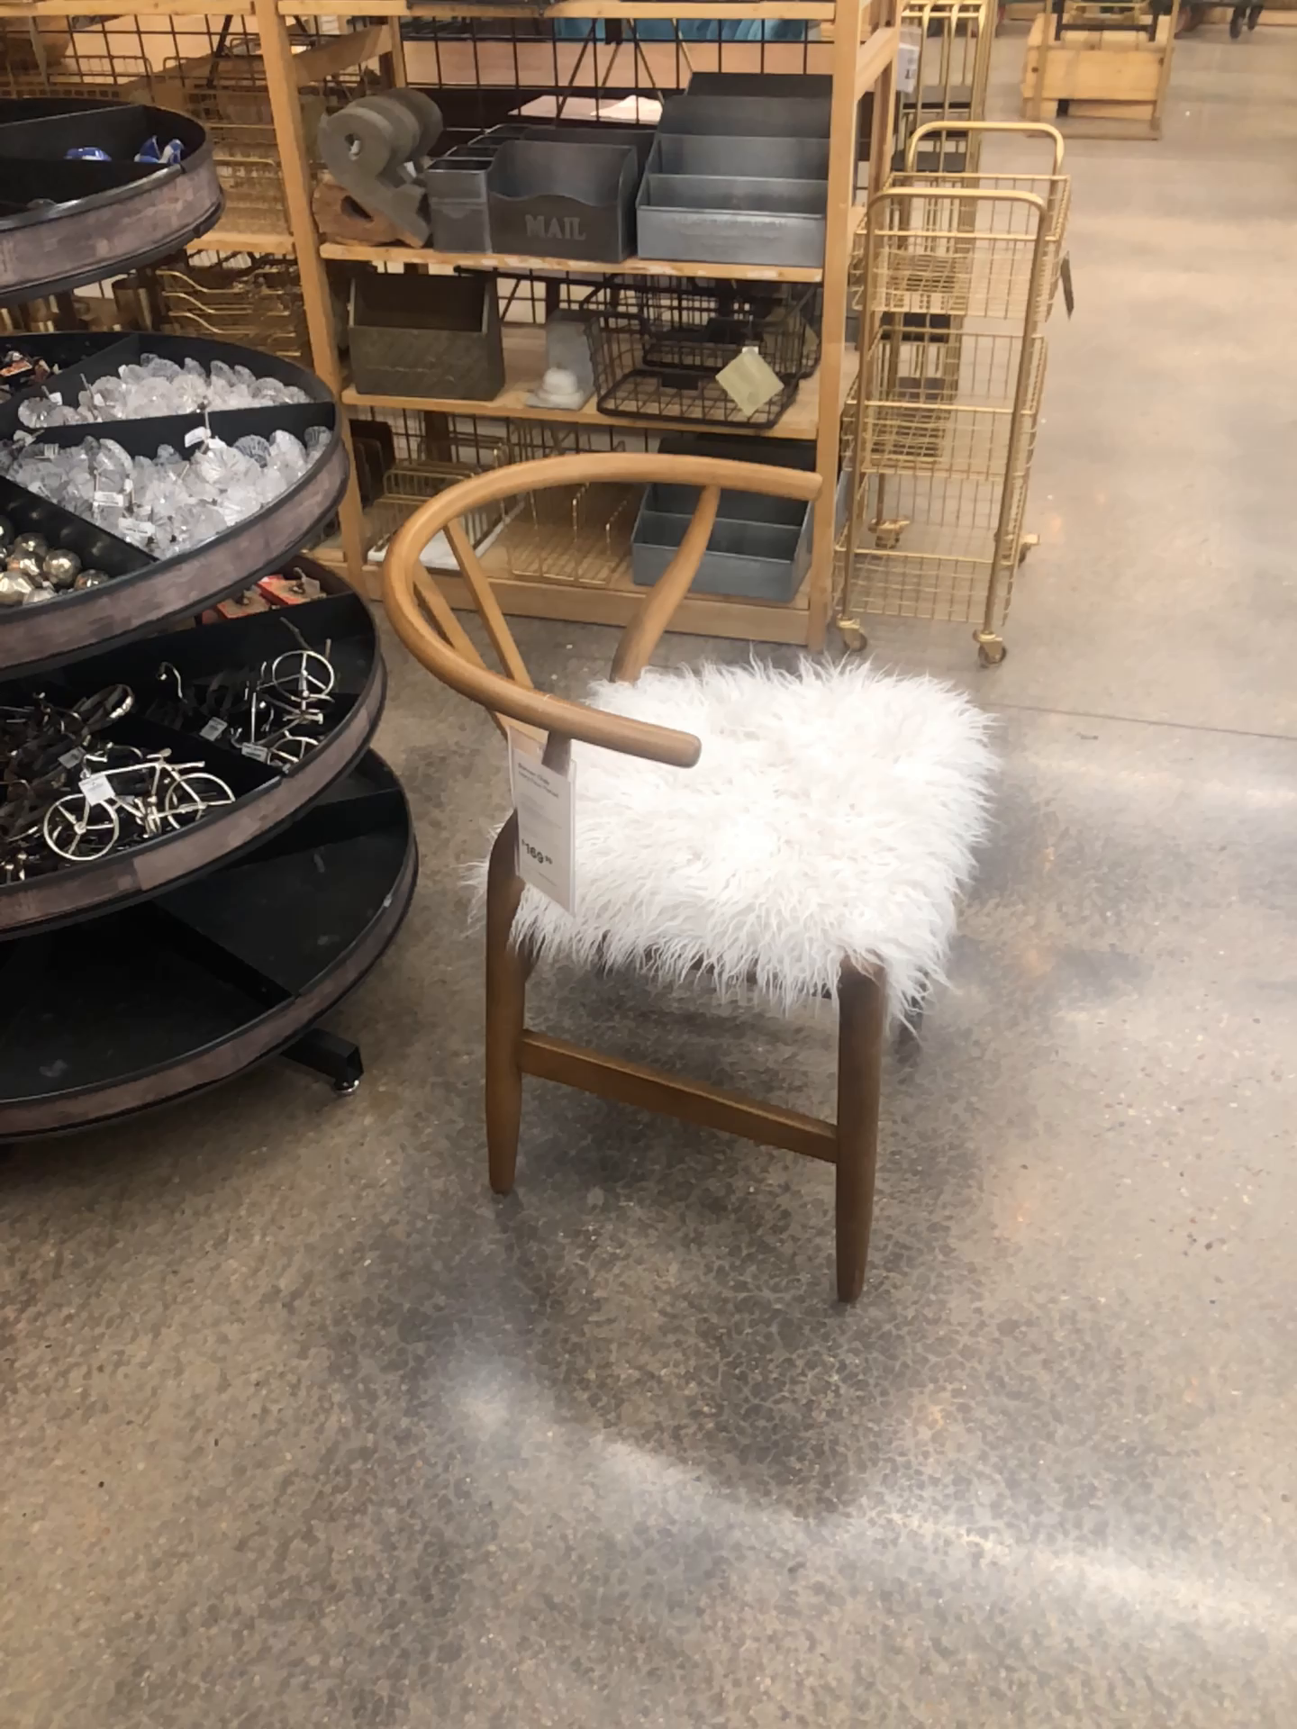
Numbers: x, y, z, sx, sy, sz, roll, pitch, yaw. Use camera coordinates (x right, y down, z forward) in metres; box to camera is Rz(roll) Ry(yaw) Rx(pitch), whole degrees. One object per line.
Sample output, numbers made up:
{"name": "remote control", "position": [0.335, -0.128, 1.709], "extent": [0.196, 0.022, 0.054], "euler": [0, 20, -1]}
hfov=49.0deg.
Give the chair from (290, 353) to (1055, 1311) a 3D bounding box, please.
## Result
{"name": "chair", "position": [0.066, -0.054, 1.489], "extent": [0.528, 0.731, 0.560], "euler": [11, 40, 16]}
